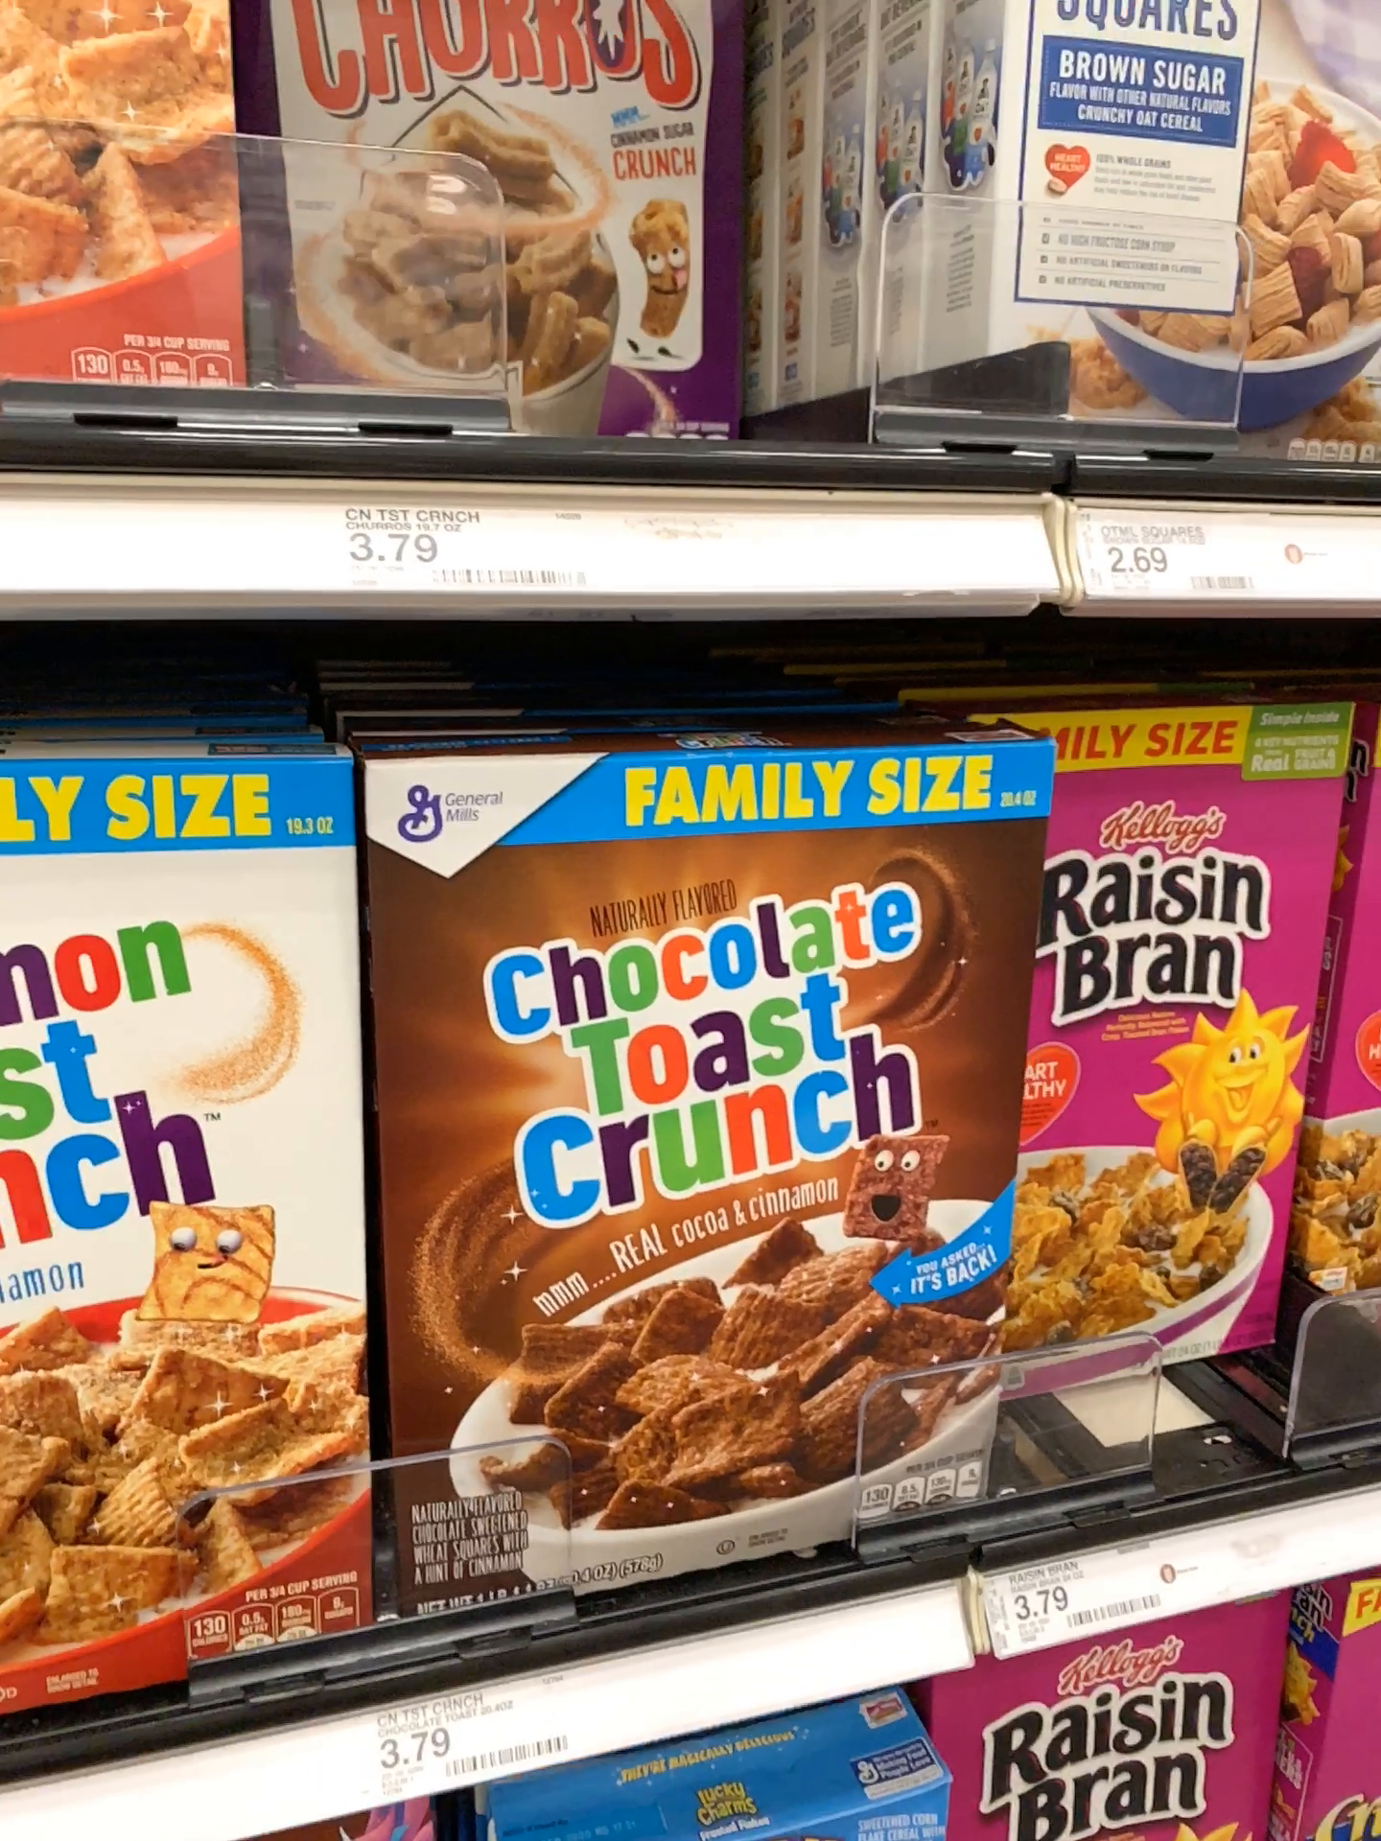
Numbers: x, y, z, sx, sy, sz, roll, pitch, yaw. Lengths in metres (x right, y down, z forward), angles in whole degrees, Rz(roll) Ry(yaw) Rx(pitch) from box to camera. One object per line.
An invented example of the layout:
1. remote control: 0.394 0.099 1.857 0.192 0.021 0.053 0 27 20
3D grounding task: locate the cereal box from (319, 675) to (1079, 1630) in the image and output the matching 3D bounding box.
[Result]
1. cereal box: 0.003 0.075 0.506 0.240 0.309 0.060 -4 16 -17
